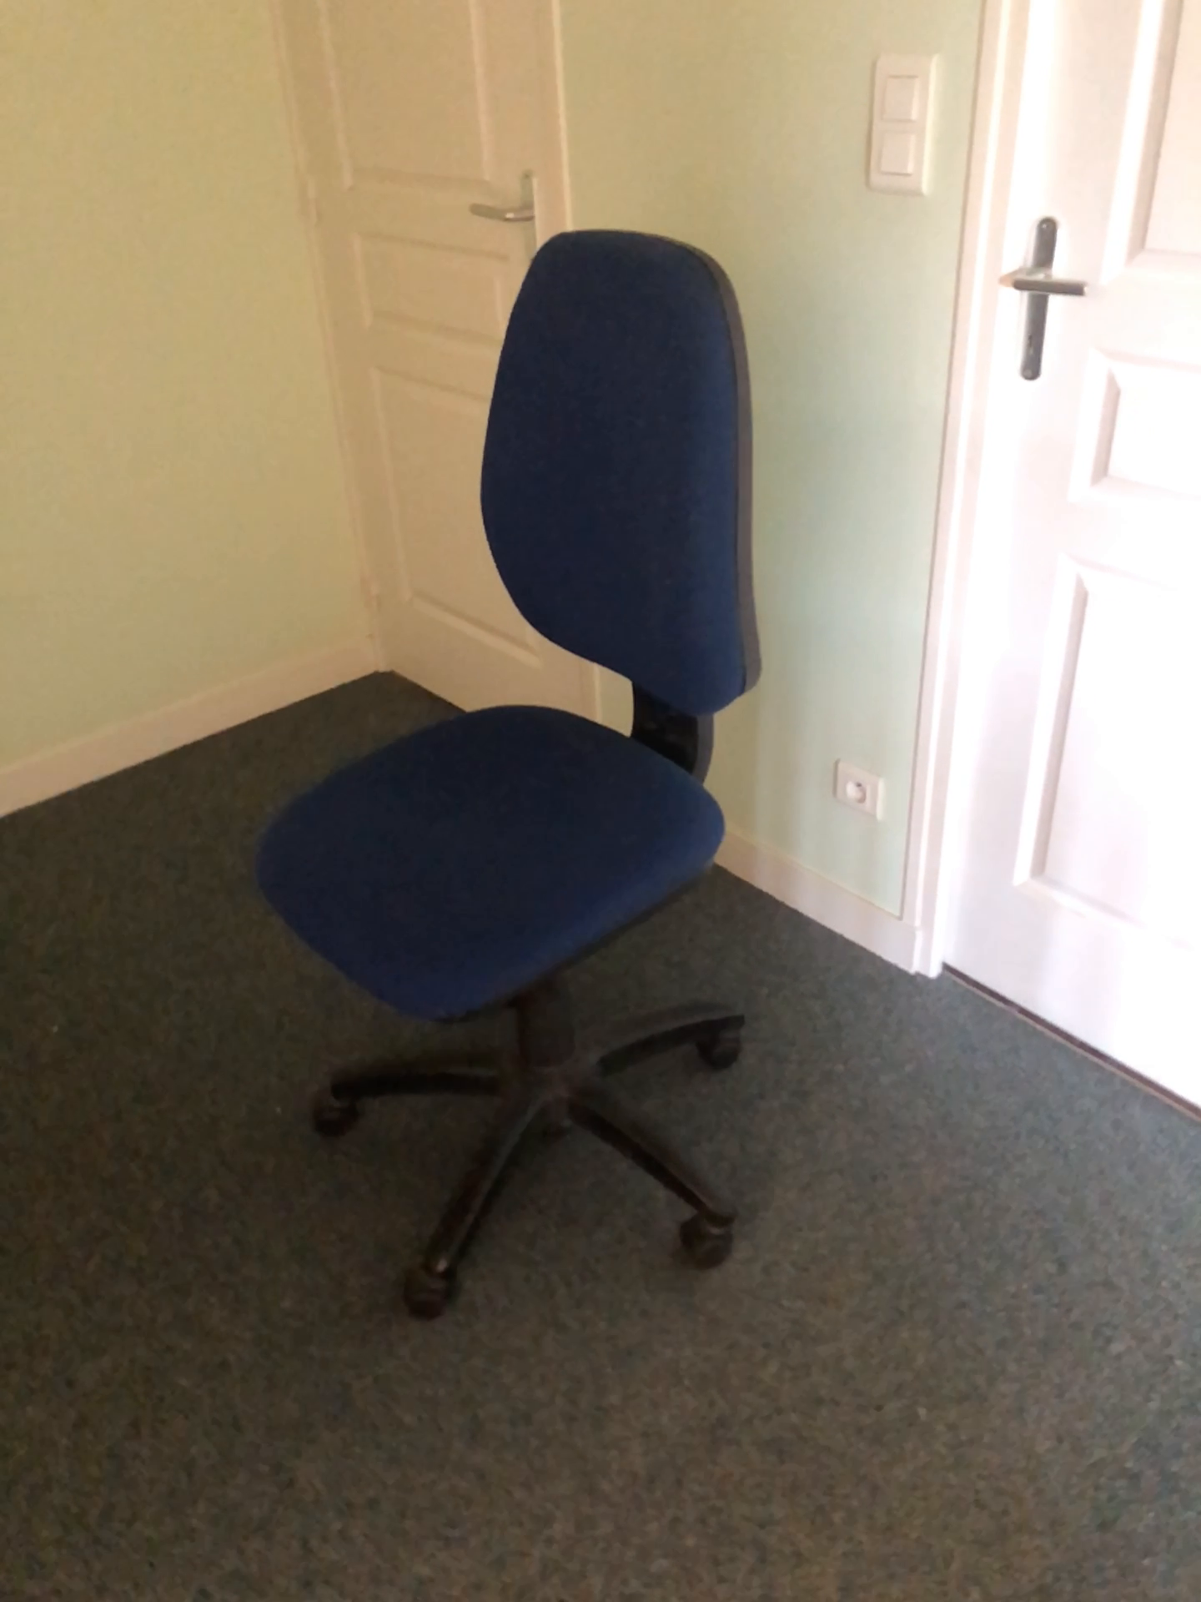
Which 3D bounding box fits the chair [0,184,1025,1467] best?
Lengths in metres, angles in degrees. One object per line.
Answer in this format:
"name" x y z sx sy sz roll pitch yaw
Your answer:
"chair" -0.080 -0.034 1.490 0.673 1.113 0.701 -26 38 -33
